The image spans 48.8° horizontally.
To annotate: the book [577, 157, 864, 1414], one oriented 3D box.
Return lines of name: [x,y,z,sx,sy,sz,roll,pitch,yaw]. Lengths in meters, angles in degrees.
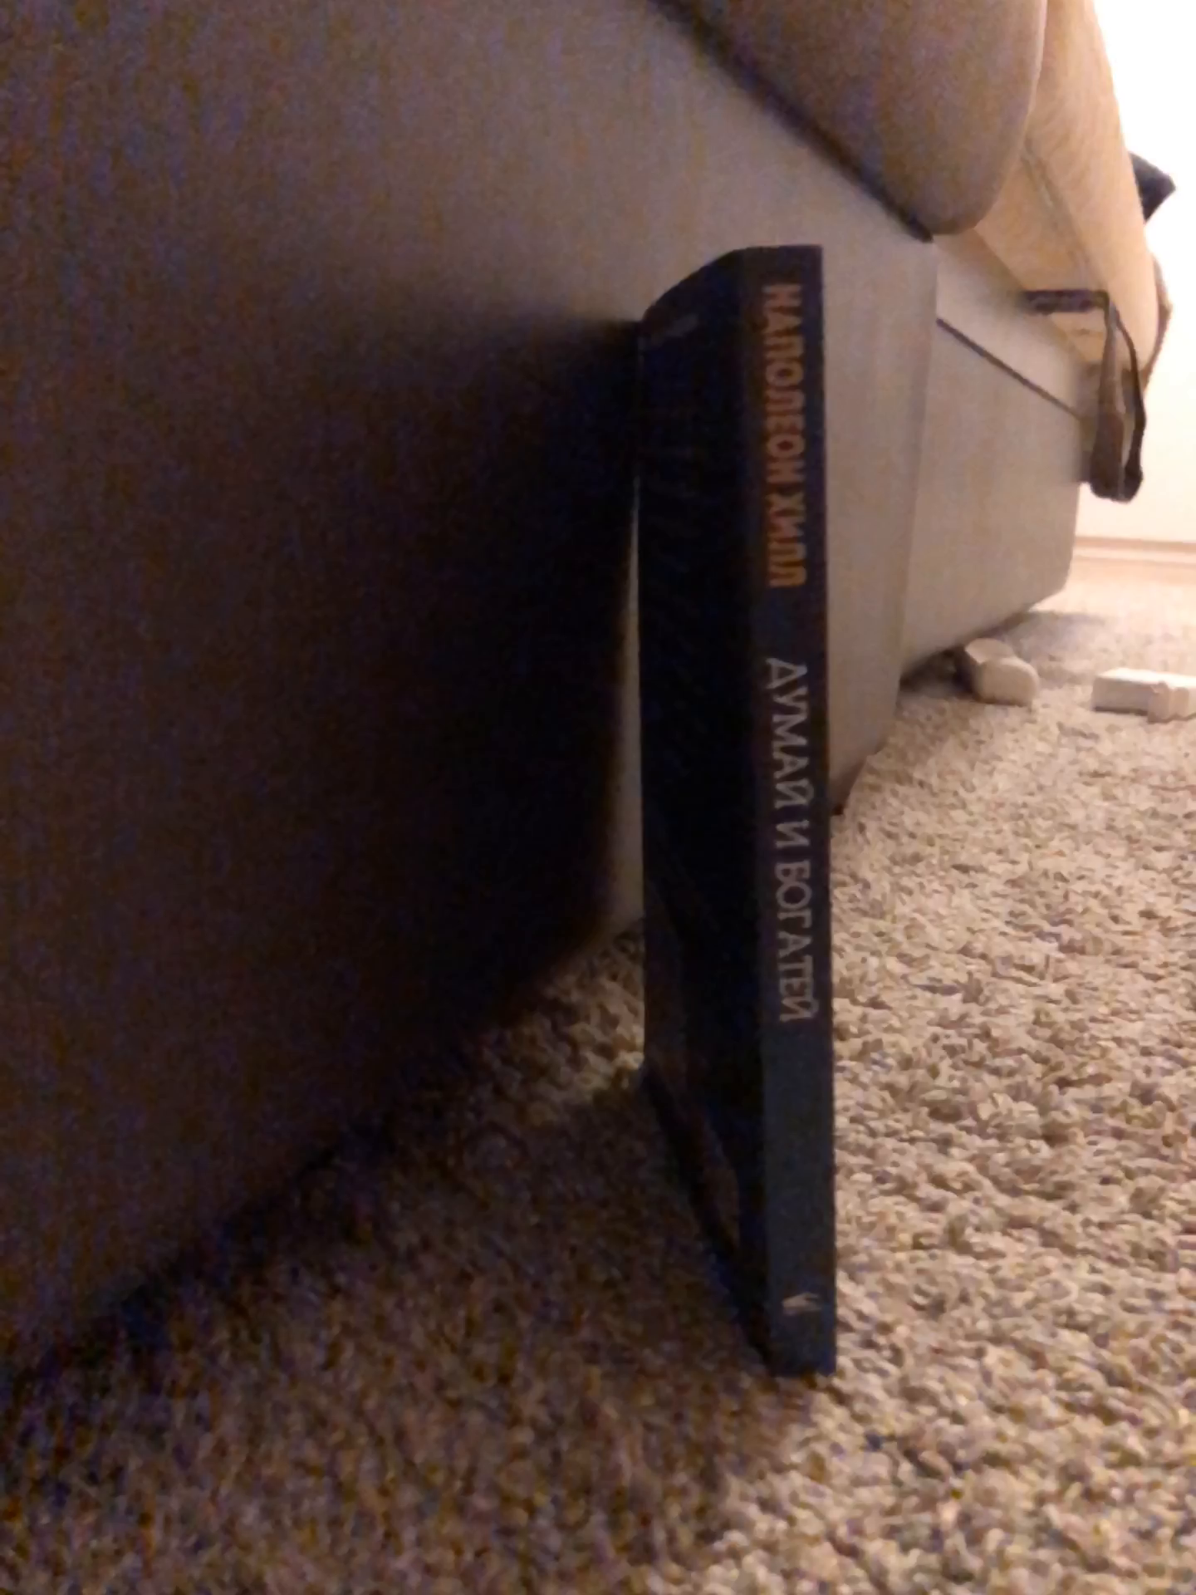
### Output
book: [0.021,-0.007,0.269,0.030,0.198,0.132,-4,13,-4]
